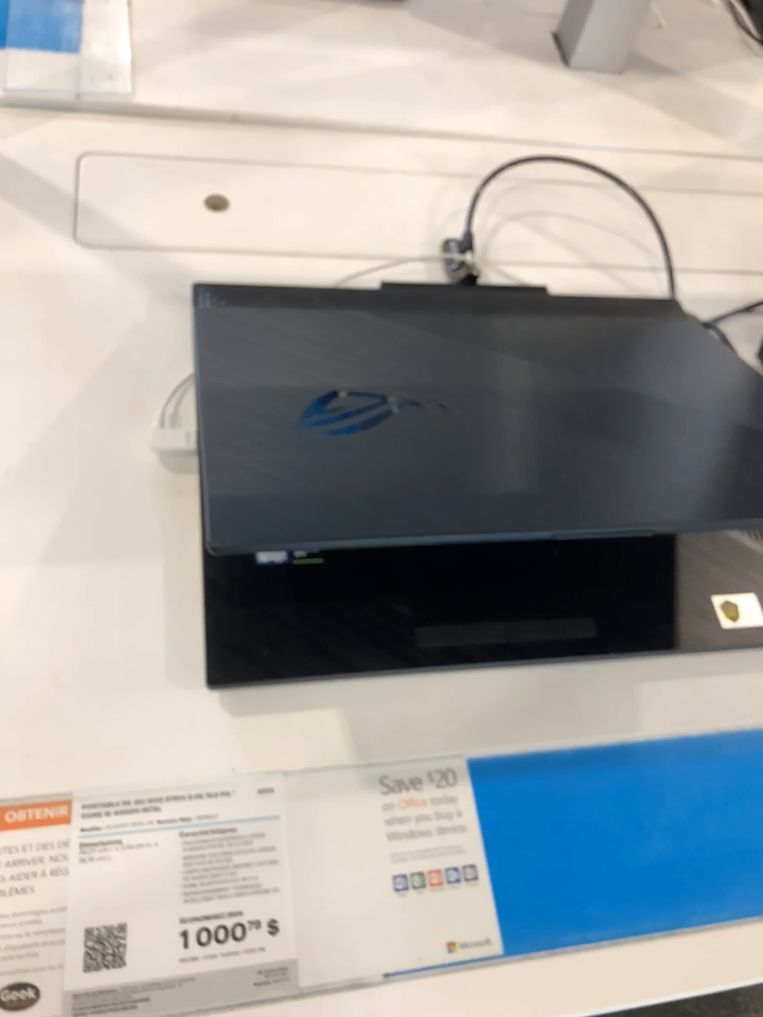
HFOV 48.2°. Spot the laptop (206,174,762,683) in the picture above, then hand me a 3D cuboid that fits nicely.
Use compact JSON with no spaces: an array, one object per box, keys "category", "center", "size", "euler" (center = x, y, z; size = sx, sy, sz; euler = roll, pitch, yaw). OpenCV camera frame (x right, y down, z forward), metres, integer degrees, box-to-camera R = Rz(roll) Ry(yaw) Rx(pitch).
[{"category":"laptop","center":[0.070,-0.057,0.488],"size":[0.331,0.097,0.263],"euler":[-2,60,-11]}]
